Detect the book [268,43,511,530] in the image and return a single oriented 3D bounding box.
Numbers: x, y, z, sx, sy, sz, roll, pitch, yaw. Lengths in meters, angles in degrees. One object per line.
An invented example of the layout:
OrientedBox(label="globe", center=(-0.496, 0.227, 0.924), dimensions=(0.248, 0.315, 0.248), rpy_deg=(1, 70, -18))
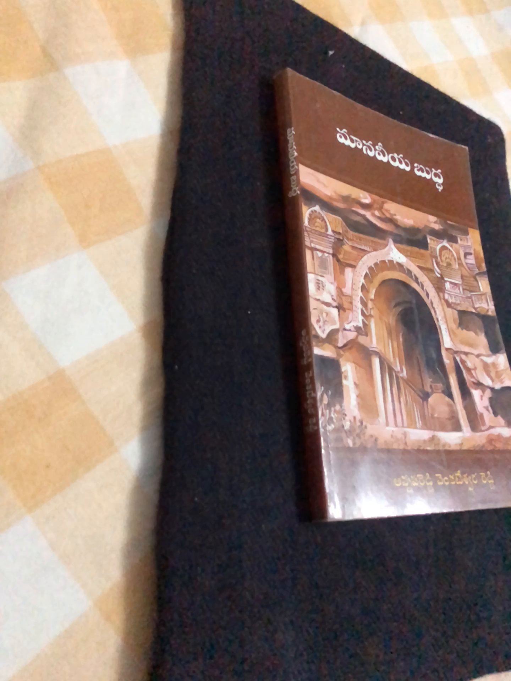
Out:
OrientedBox(label="book", center=(0.078, -0.028, 0.292), dimensions=(0.141, 0.020, 0.230), rpy_deg=(7, 69, -32))
